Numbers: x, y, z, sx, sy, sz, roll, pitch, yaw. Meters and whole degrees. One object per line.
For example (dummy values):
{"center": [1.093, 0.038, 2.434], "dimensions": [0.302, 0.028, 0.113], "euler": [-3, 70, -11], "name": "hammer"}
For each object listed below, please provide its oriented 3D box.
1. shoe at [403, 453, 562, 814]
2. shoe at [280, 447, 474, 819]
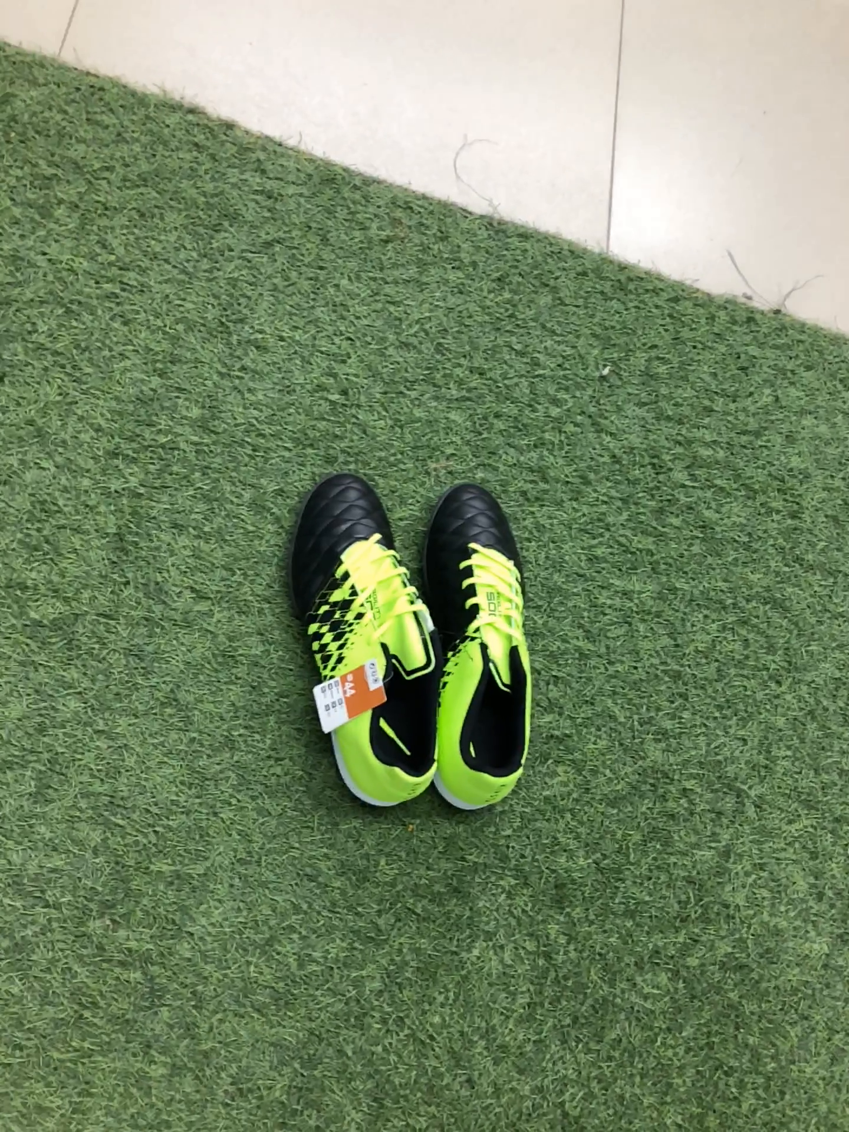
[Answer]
{"center": [0.046, 0.059, 0.780], "dimensions": [0.100, 0.090, 0.281], "euler": [6, 71, -16], "name": "shoe"}
{"center": [-0.045, 0.052, 0.758], "dimensions": [0.100, 0.090, 0.280], "euler": [-4, 74, -19], "name": "shoe"}
